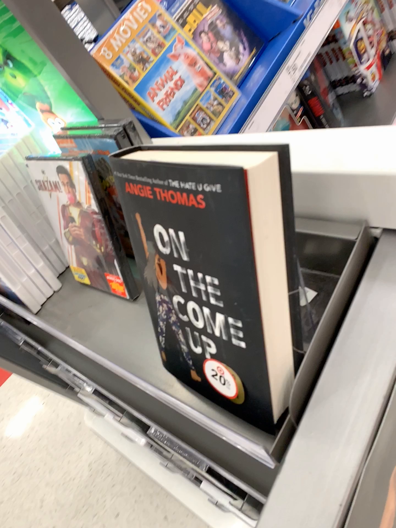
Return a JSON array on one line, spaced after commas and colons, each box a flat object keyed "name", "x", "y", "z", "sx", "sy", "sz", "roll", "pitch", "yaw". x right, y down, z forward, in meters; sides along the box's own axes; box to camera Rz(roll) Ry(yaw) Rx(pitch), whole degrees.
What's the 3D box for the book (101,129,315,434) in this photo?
[{"name": "book", "x": 0.012, "y": 0.009, "z": 0.338, "sx": 0.149, "sy": 0.222, "sz": 0.056, "roll": 16, "pitch": 37, "yaw": 42}]
